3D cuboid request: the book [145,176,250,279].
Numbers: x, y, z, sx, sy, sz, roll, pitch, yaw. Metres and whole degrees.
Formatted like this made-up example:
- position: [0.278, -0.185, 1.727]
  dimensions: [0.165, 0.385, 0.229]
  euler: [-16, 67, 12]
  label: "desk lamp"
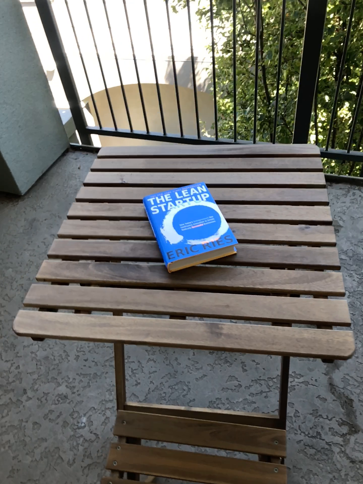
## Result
- position: [0.026, -0.040, 0.853]
  dimensions: [0.160, 0.040, 0.231]
  euler: [-15, 46, -7]
  label: "book"
